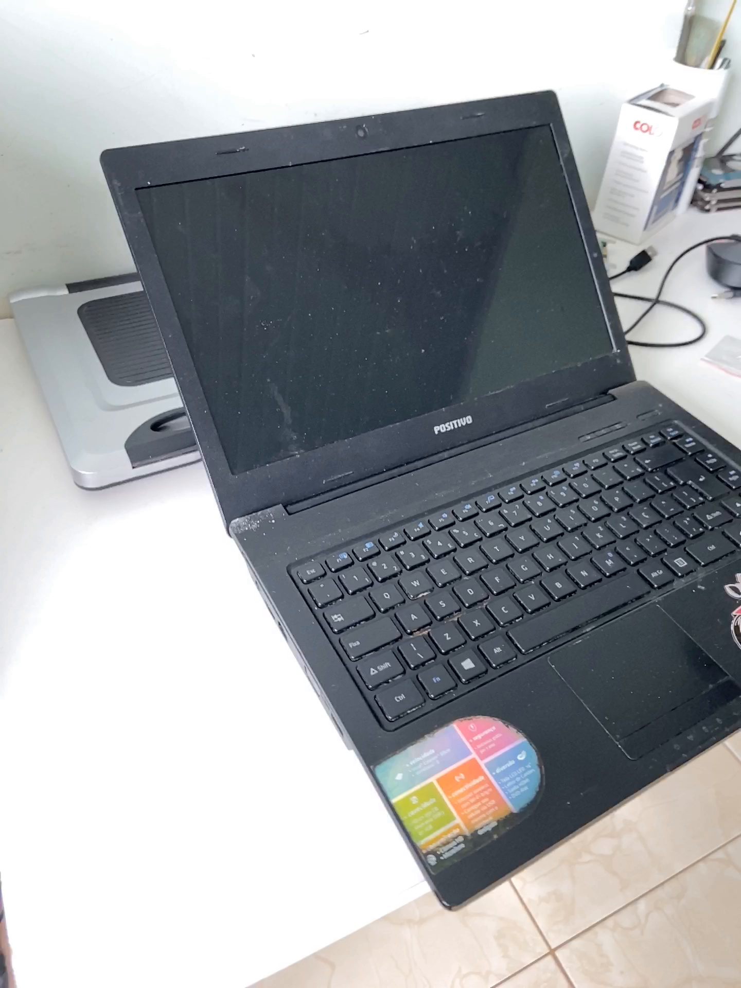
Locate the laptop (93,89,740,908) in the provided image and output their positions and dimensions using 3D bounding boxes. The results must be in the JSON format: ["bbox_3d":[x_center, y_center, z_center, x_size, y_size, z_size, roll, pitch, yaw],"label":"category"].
[{"bbox_3d":[0.081,-0.069,0.432,0.335,0.162,0.394,-19,47,-22],"label":"laptop"}]
